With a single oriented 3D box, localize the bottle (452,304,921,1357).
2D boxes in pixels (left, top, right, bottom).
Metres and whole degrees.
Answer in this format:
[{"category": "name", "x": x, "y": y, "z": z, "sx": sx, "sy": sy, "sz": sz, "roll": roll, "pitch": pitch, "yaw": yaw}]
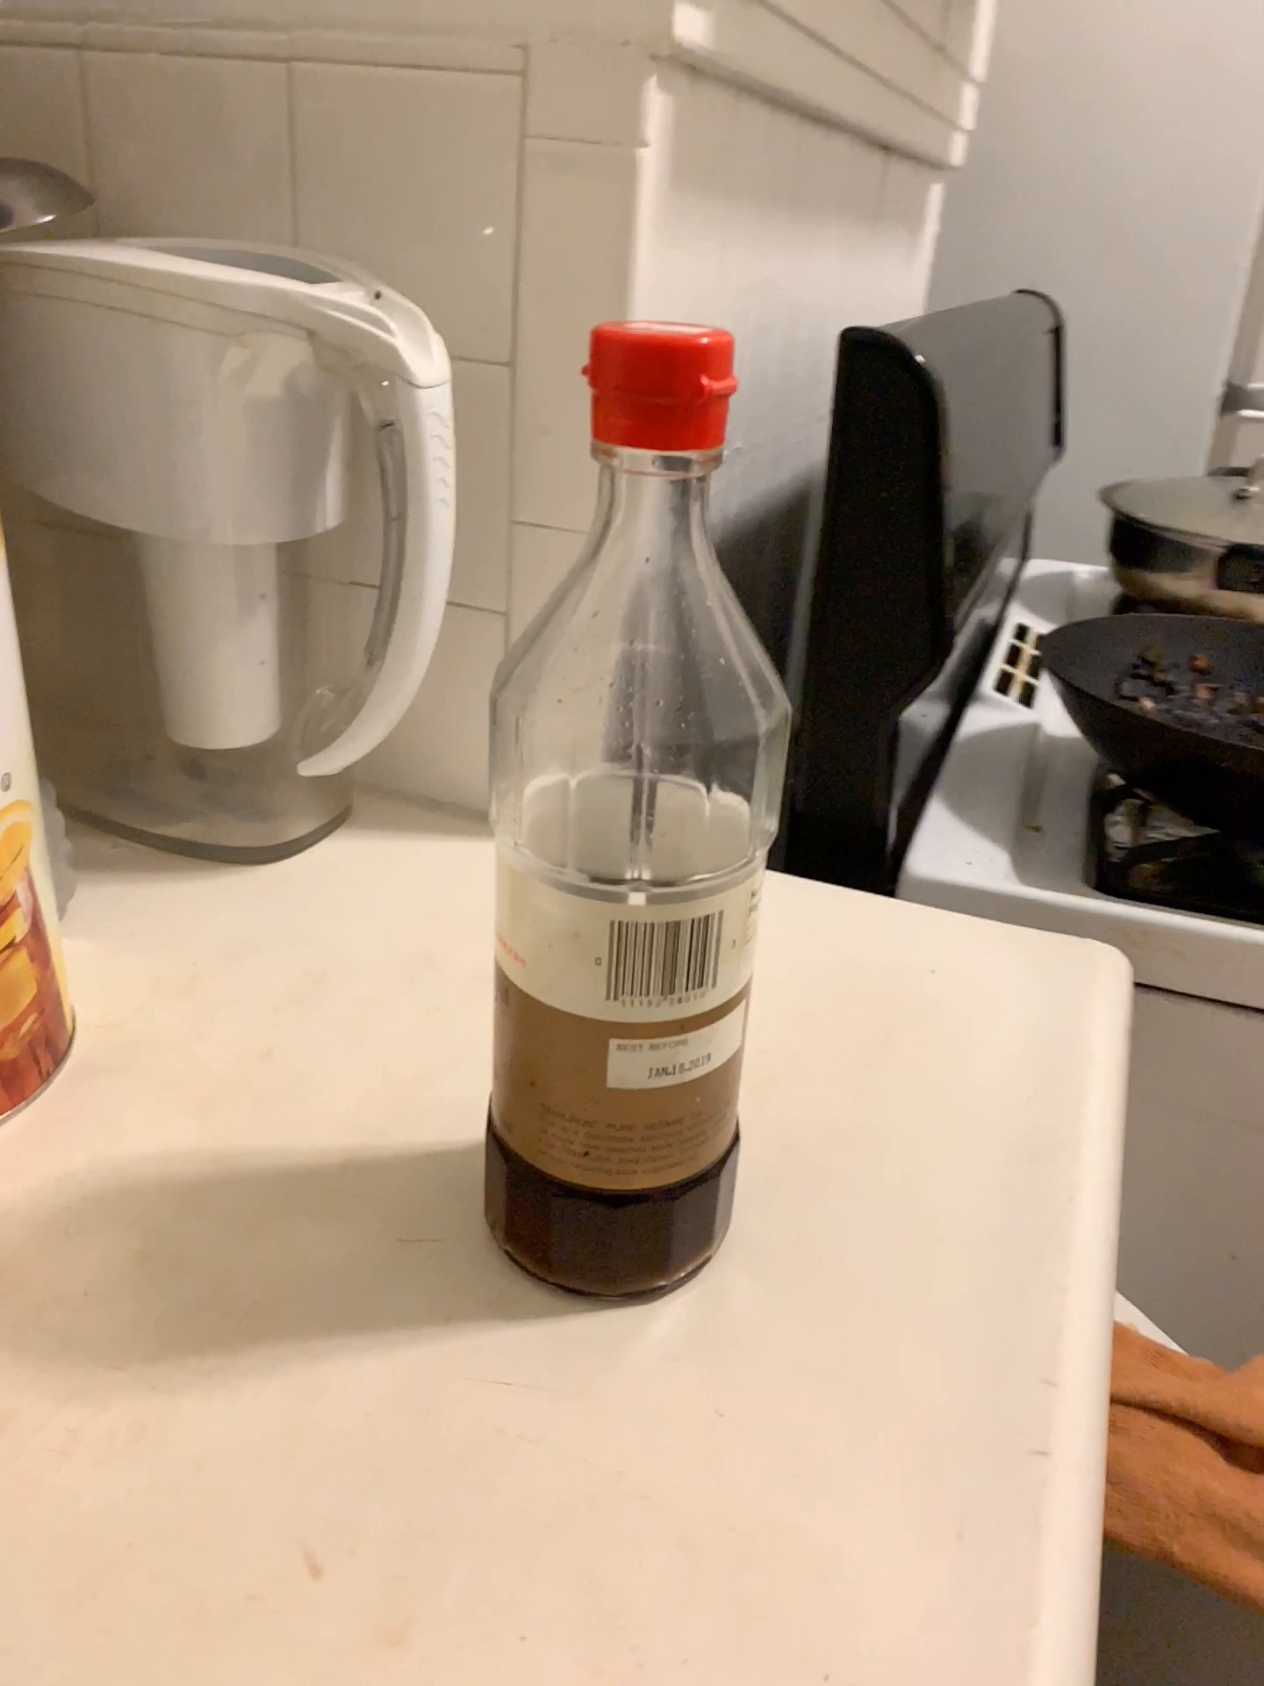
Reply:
[{"category": "bottle", "x": 0.010, "y": 0.001, "z": 0.350, "sx": 0.090, "sy": 0.259, "sz": 0.090, "roll": 4, "pitch": 27, "yaw": -2}]
